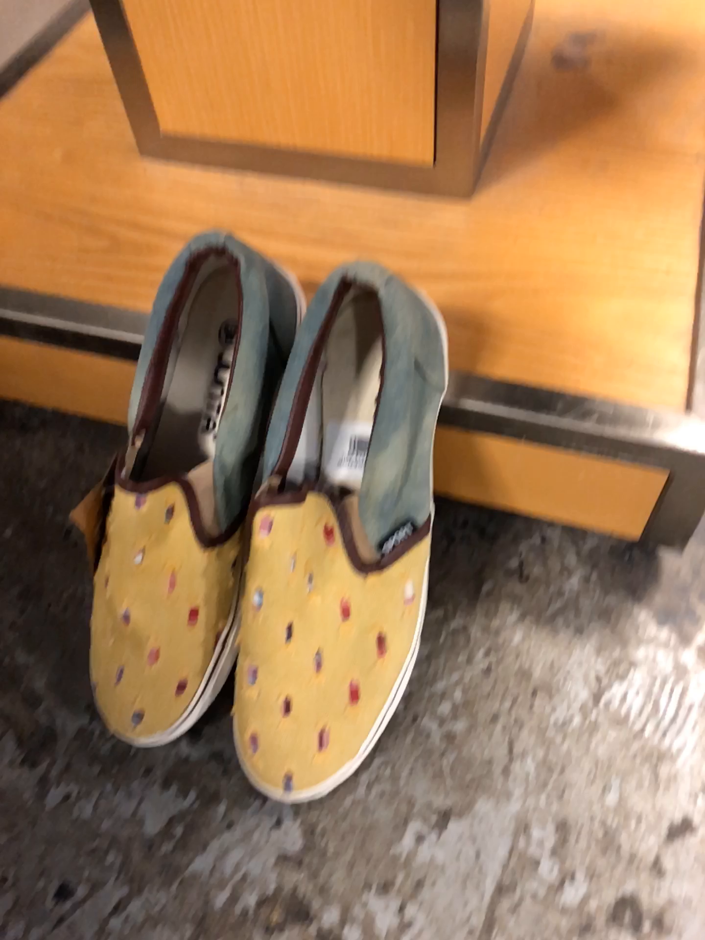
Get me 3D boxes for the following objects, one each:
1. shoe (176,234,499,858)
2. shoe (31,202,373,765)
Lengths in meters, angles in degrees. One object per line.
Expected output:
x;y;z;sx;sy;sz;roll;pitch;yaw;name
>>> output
-0.008;0.033;0.404;0.090;0.279;0.100;15;14;20;shoe
-0.081;0.003;0.430;0.090;0.259;0.120;18;14;17;shoe
